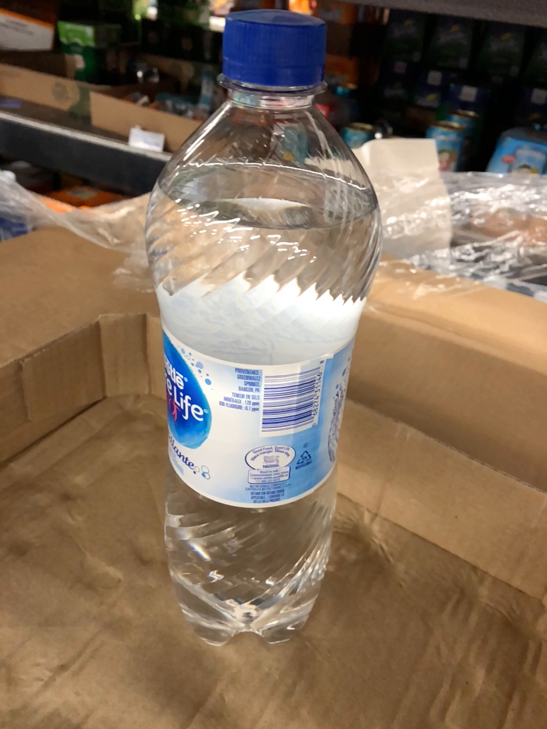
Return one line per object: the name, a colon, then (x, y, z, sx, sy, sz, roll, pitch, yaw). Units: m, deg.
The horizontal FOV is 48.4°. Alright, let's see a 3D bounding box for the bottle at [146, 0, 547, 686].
bottle: (0.008, 0.001, 0.268, 0.100, 0.278, 0.101, 5, 33, -3)
